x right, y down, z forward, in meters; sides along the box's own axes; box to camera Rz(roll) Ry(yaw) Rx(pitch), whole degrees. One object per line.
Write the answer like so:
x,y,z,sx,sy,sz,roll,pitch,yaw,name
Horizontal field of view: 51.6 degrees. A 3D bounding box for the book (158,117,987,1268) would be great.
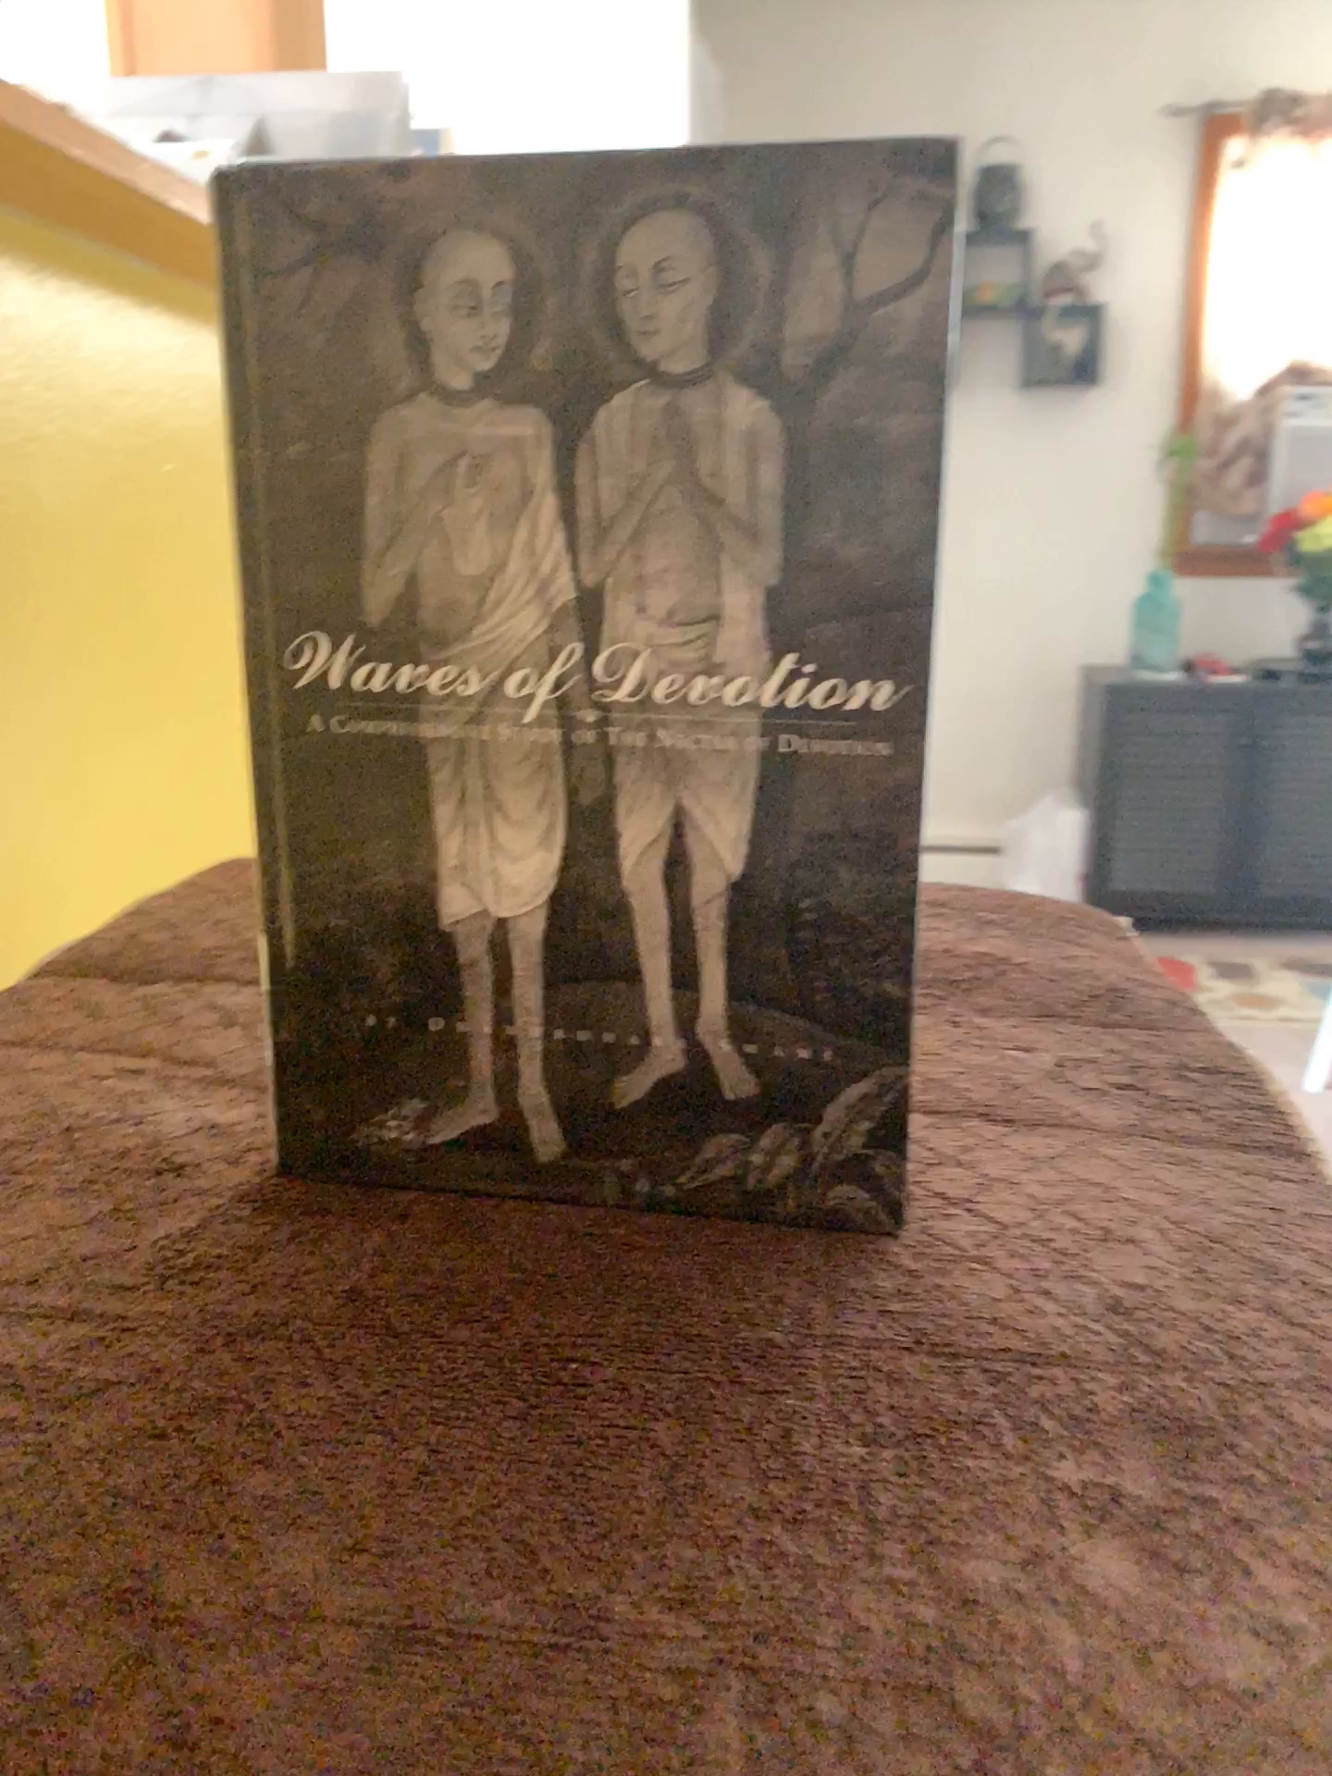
-0.018,-0.036,0.308,0.160,0.229,0.040,3,16,11,book
